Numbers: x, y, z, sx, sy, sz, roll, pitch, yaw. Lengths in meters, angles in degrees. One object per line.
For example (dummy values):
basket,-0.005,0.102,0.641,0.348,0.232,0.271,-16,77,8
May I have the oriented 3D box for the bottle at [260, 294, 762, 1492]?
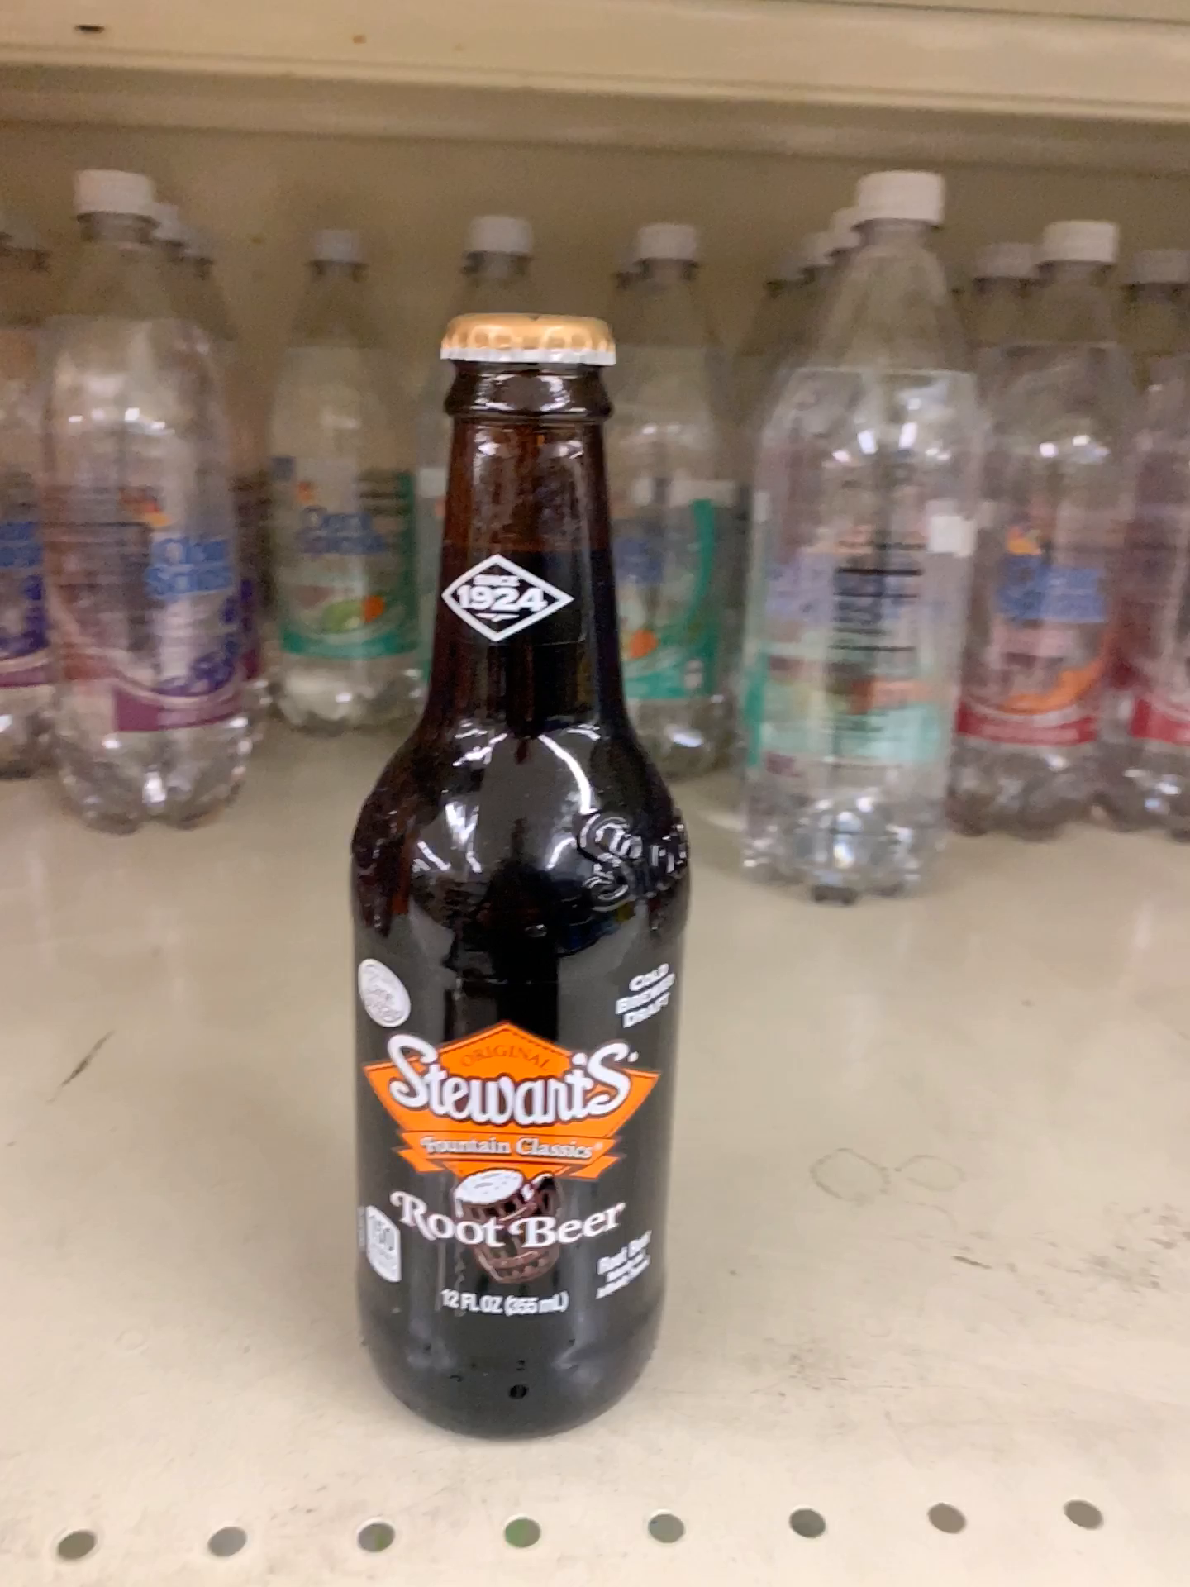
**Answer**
bottle,-0.013,0.021,0.231,0.070,0.207,0.060,3,18,4
